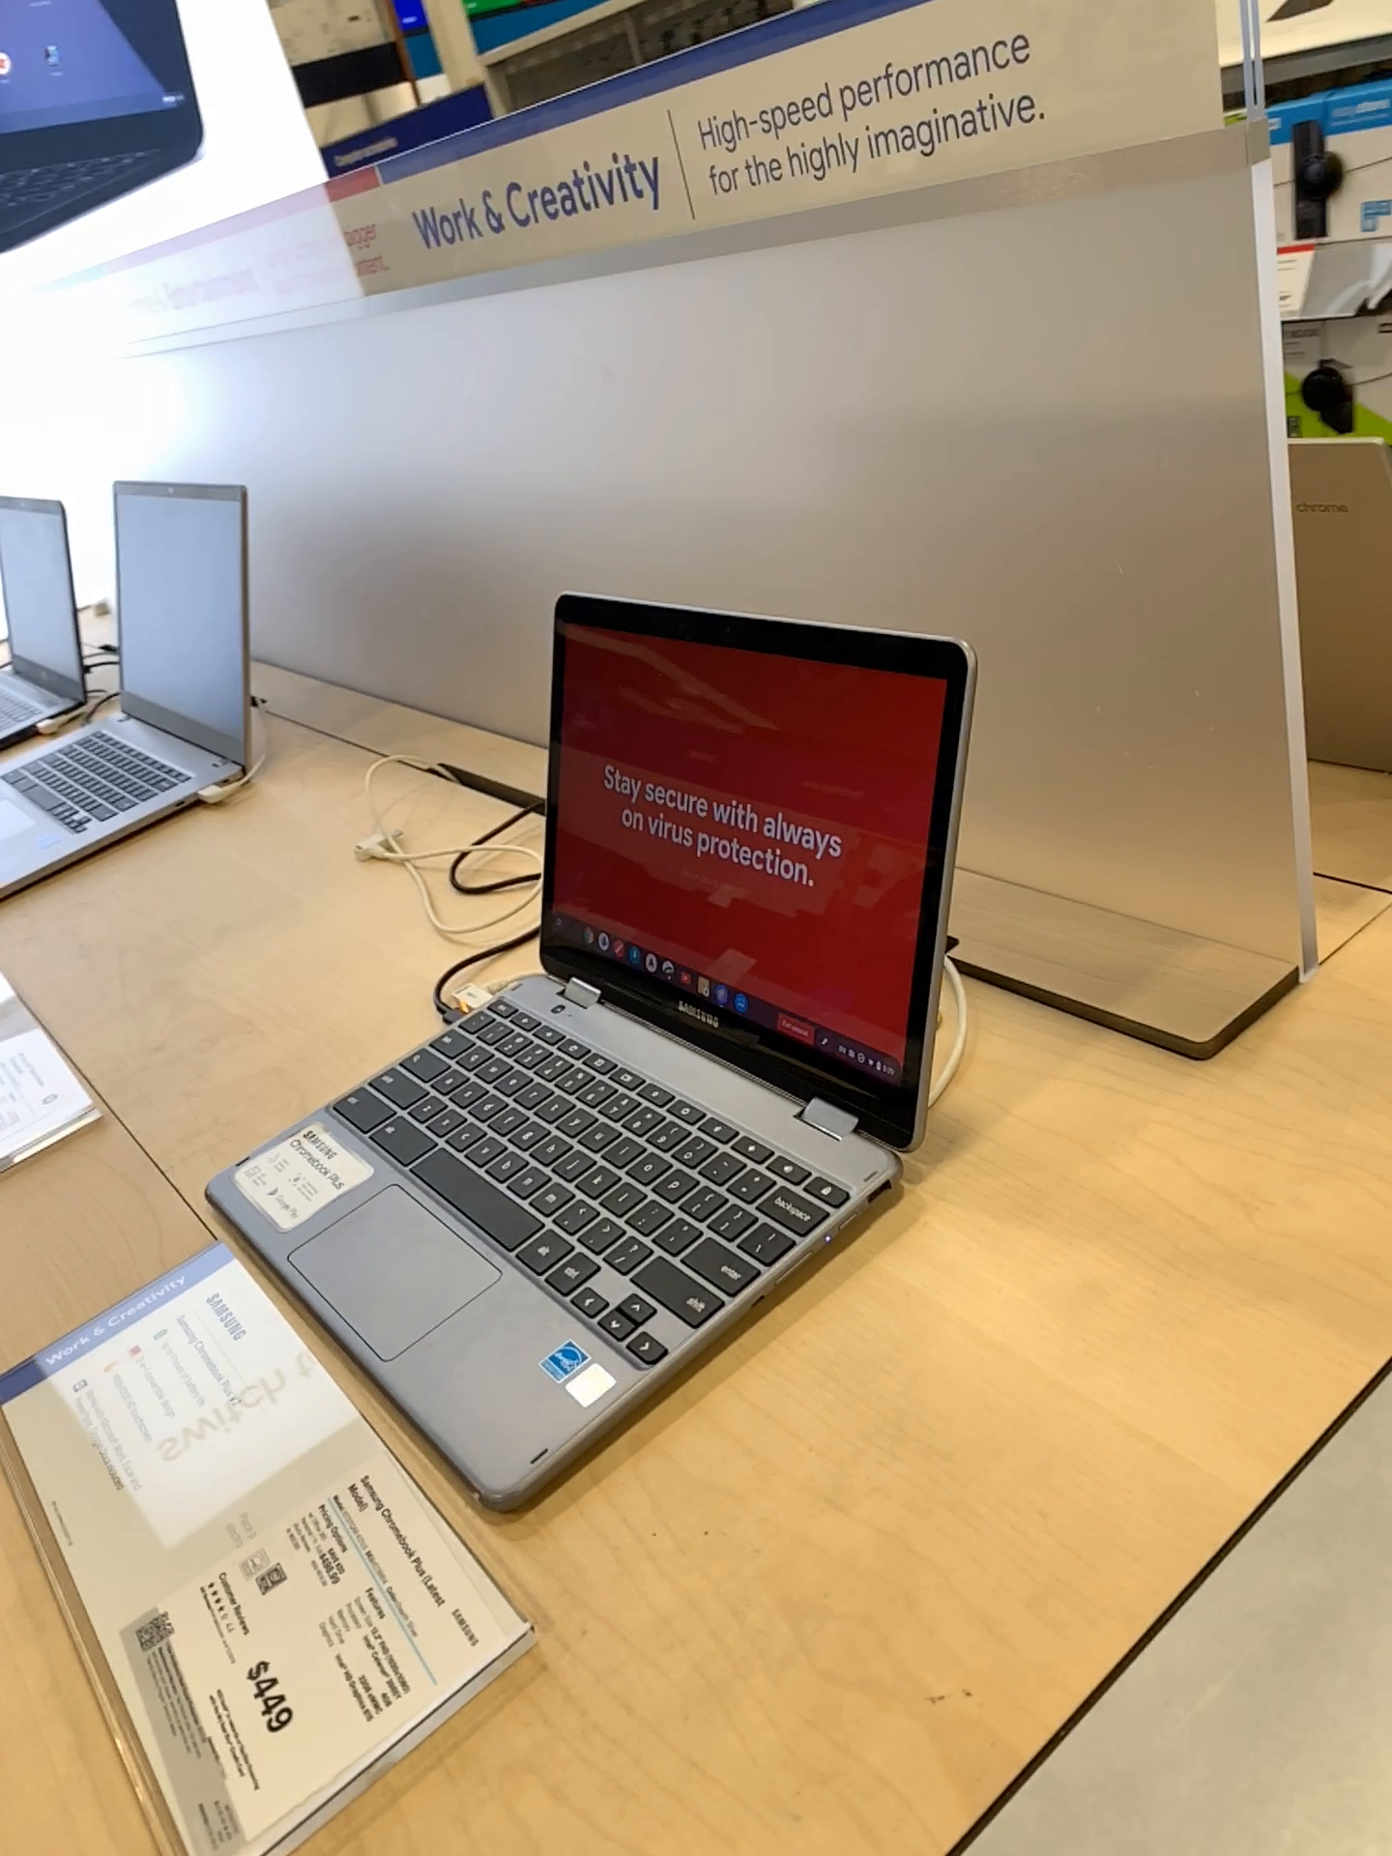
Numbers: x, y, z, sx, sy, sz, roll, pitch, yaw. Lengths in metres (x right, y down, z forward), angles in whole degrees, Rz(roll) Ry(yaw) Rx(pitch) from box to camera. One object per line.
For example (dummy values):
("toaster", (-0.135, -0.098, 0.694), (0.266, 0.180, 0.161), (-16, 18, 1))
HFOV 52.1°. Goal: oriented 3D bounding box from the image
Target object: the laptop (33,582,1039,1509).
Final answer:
("laptop", (-0.068, 0.009, 0.596), (0.288, 0.181, 0.275), (-33, 32, -25))
